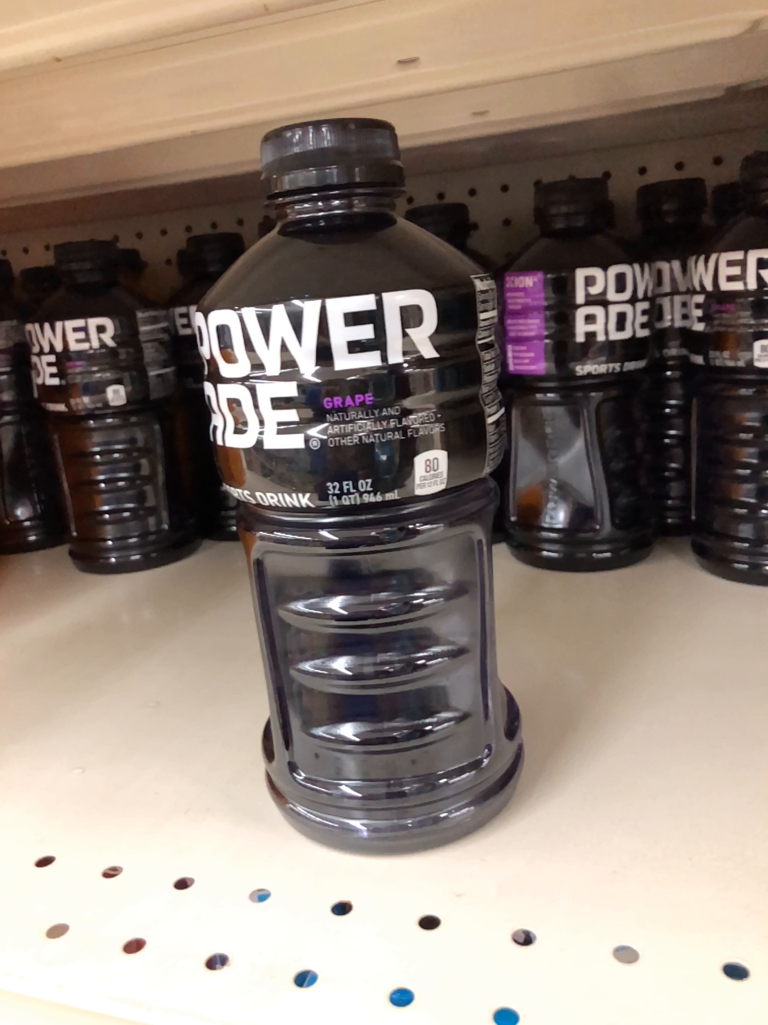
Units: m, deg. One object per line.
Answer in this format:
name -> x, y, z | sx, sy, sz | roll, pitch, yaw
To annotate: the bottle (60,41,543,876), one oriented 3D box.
bottle -> -0.011, -0.013, 0.267 | 0.098, 0.210, 0.090 | -5, 16, 1
